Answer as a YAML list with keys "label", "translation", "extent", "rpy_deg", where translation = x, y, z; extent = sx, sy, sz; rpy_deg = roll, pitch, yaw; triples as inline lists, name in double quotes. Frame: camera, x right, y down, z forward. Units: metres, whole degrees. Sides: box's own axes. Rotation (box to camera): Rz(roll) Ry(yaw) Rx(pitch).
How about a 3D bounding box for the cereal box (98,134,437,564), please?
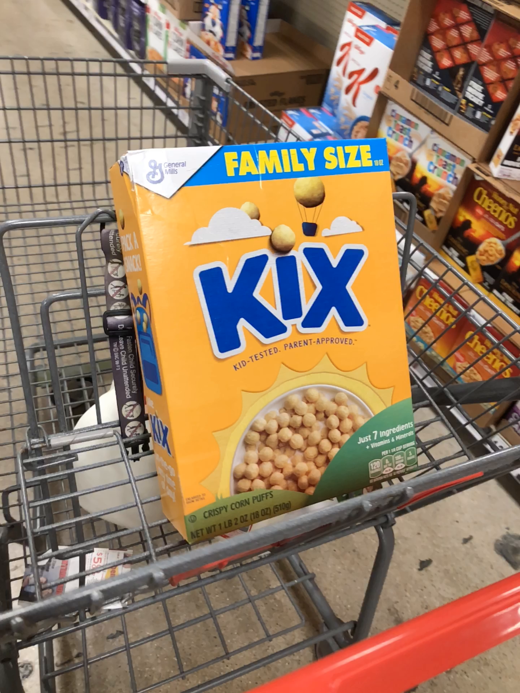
- label: "cereal box"
  translation: [0.020, -0.011, 0.513]
  extent: [0.260, 0.320, 0.070]
  rpy_deg: [-11, 10, -23]
